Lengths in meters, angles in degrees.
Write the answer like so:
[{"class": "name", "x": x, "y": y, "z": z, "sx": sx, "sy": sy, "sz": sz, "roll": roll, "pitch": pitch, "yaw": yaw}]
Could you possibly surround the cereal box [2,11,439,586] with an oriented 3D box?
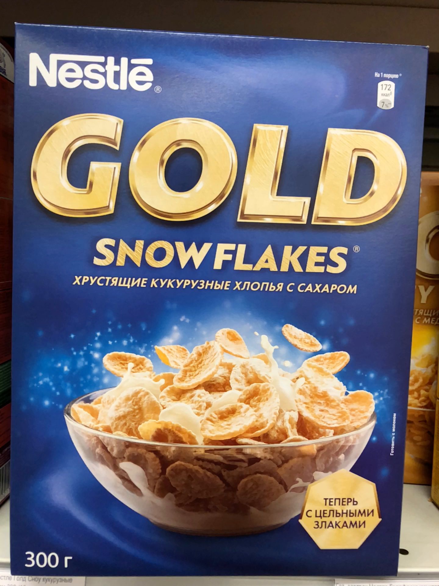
[{"class": "cereal box", "x": -0.001, "y": 0.009, "z": 0.254, "sx": 0.200, "sy": 0.270, "sz": 0.050, "roll": 1, "pitch": 3, "yaw": -3}]
